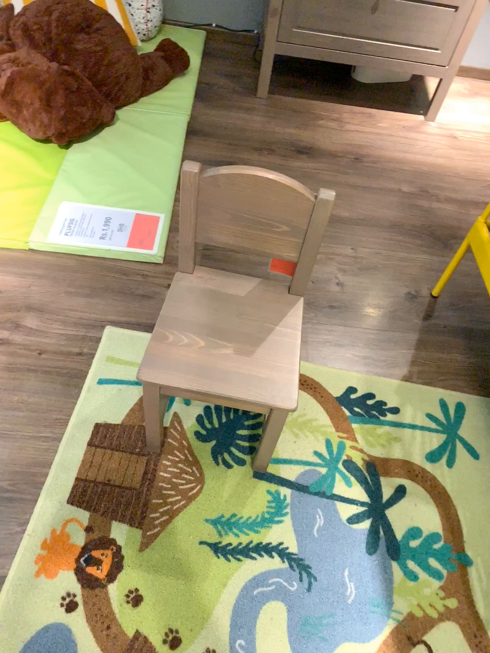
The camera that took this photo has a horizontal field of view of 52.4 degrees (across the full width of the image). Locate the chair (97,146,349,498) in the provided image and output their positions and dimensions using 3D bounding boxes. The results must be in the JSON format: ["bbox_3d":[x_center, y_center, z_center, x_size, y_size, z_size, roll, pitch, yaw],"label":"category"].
[{"bbox_3d":[-0.034,0.021,0.866,0.290,0.488,0.331,11,51,0],"label":"chair"}]
